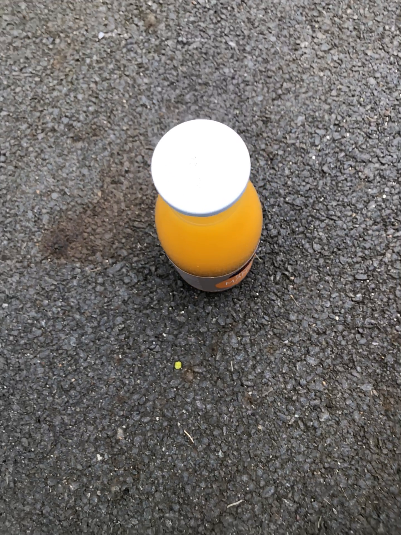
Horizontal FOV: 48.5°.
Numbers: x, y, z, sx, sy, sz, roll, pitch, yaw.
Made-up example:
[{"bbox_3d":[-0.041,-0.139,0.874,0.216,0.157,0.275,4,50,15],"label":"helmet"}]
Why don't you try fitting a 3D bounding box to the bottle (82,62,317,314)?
[{"bbox_3d":[0.006,-0.030,0.317,0.080,0.210,0.080,-1,80,4],"label":"bottle"}]
